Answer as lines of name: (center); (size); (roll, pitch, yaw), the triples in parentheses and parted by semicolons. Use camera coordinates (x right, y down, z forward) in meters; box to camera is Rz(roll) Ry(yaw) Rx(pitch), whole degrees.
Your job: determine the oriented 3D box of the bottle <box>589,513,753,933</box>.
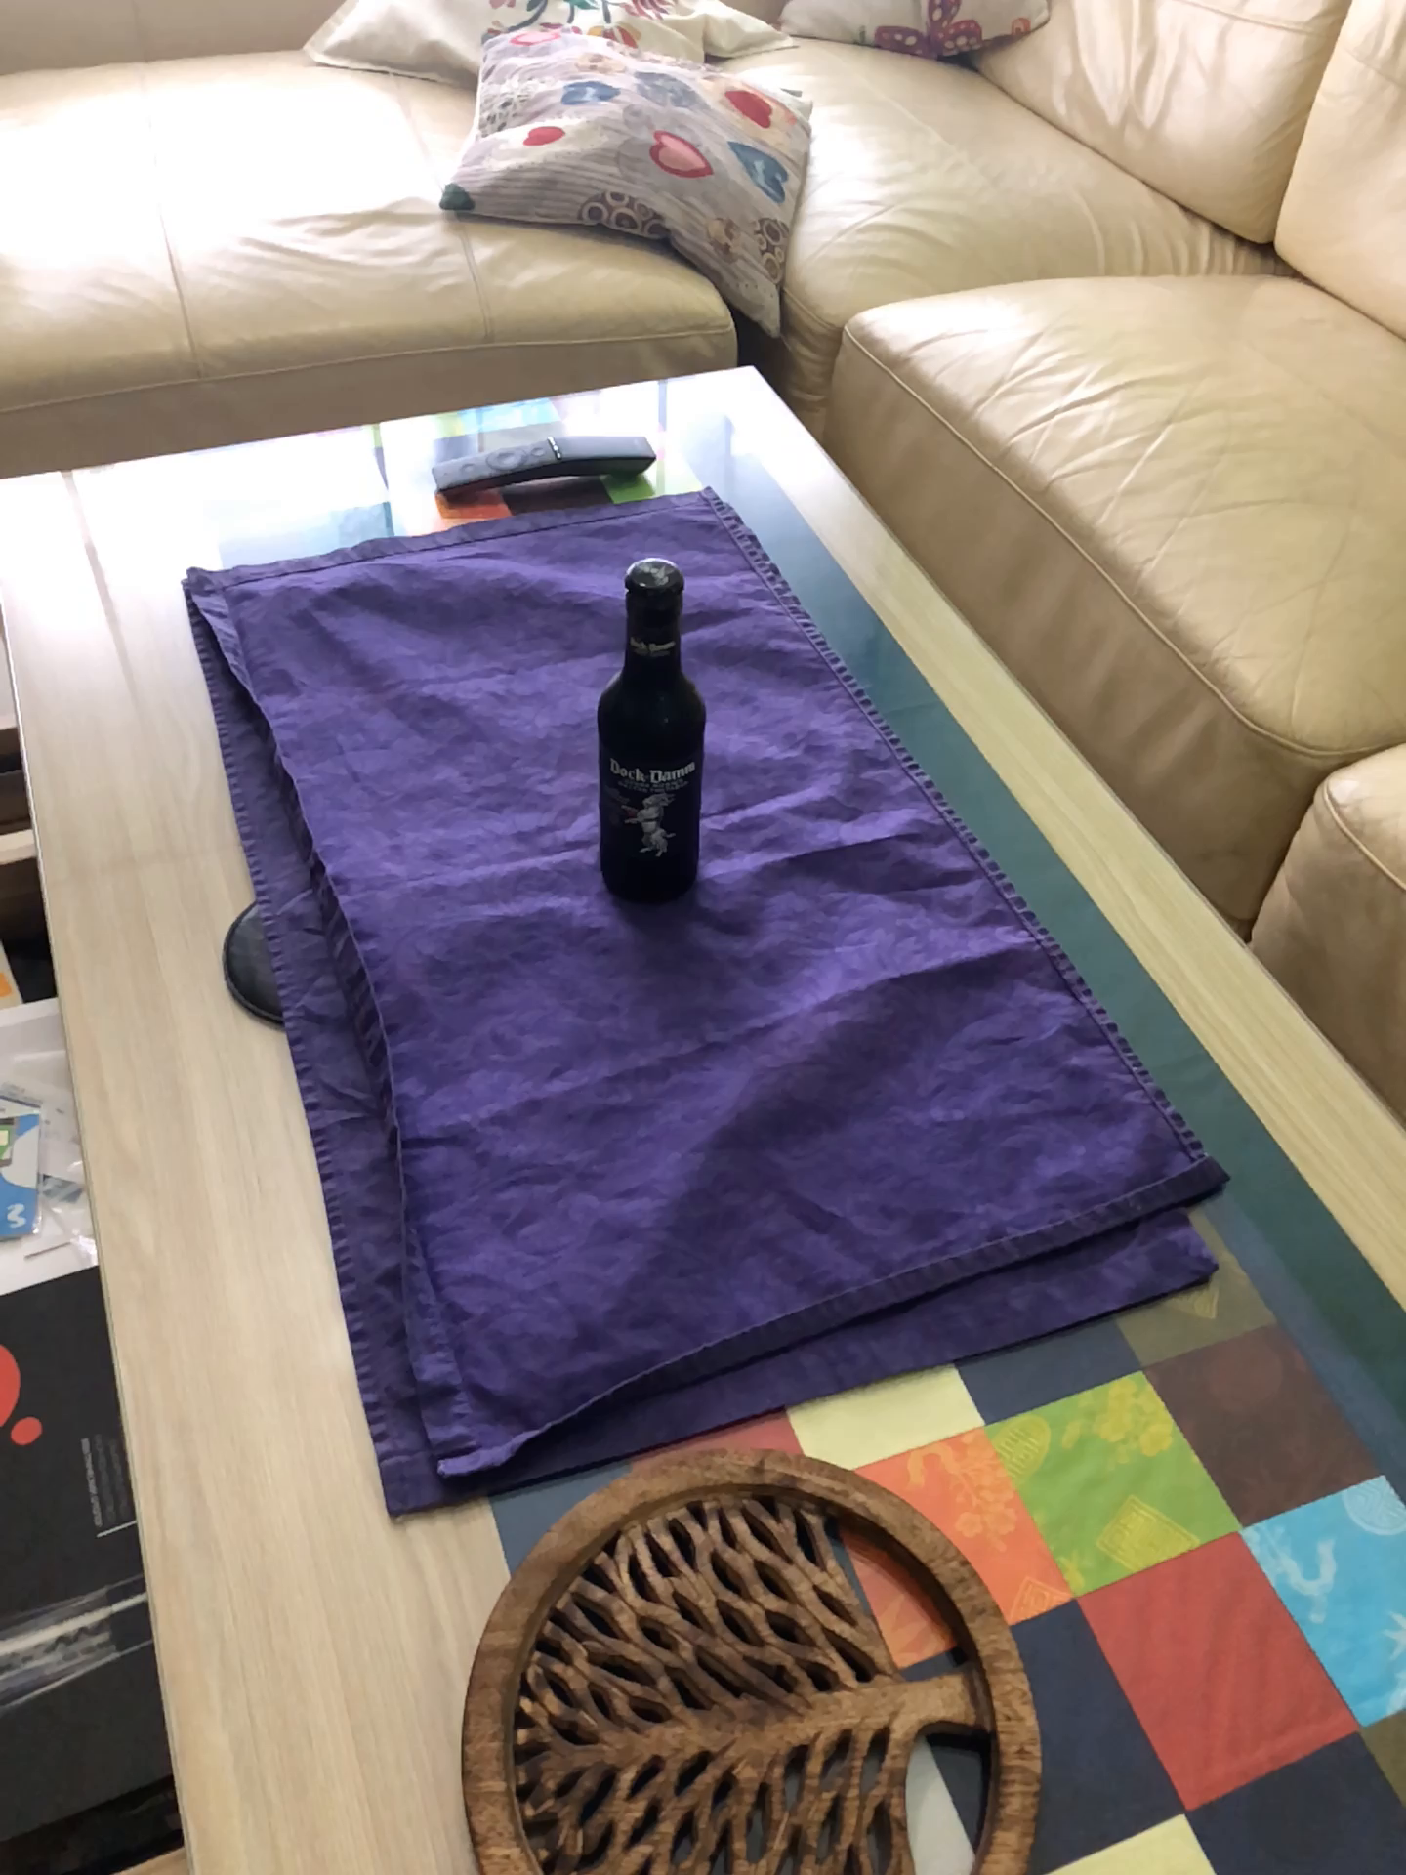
bottle: (-0.017, -0.098, 0.757); (0.070, 0.199, 0.070); (2, 46, -2)
